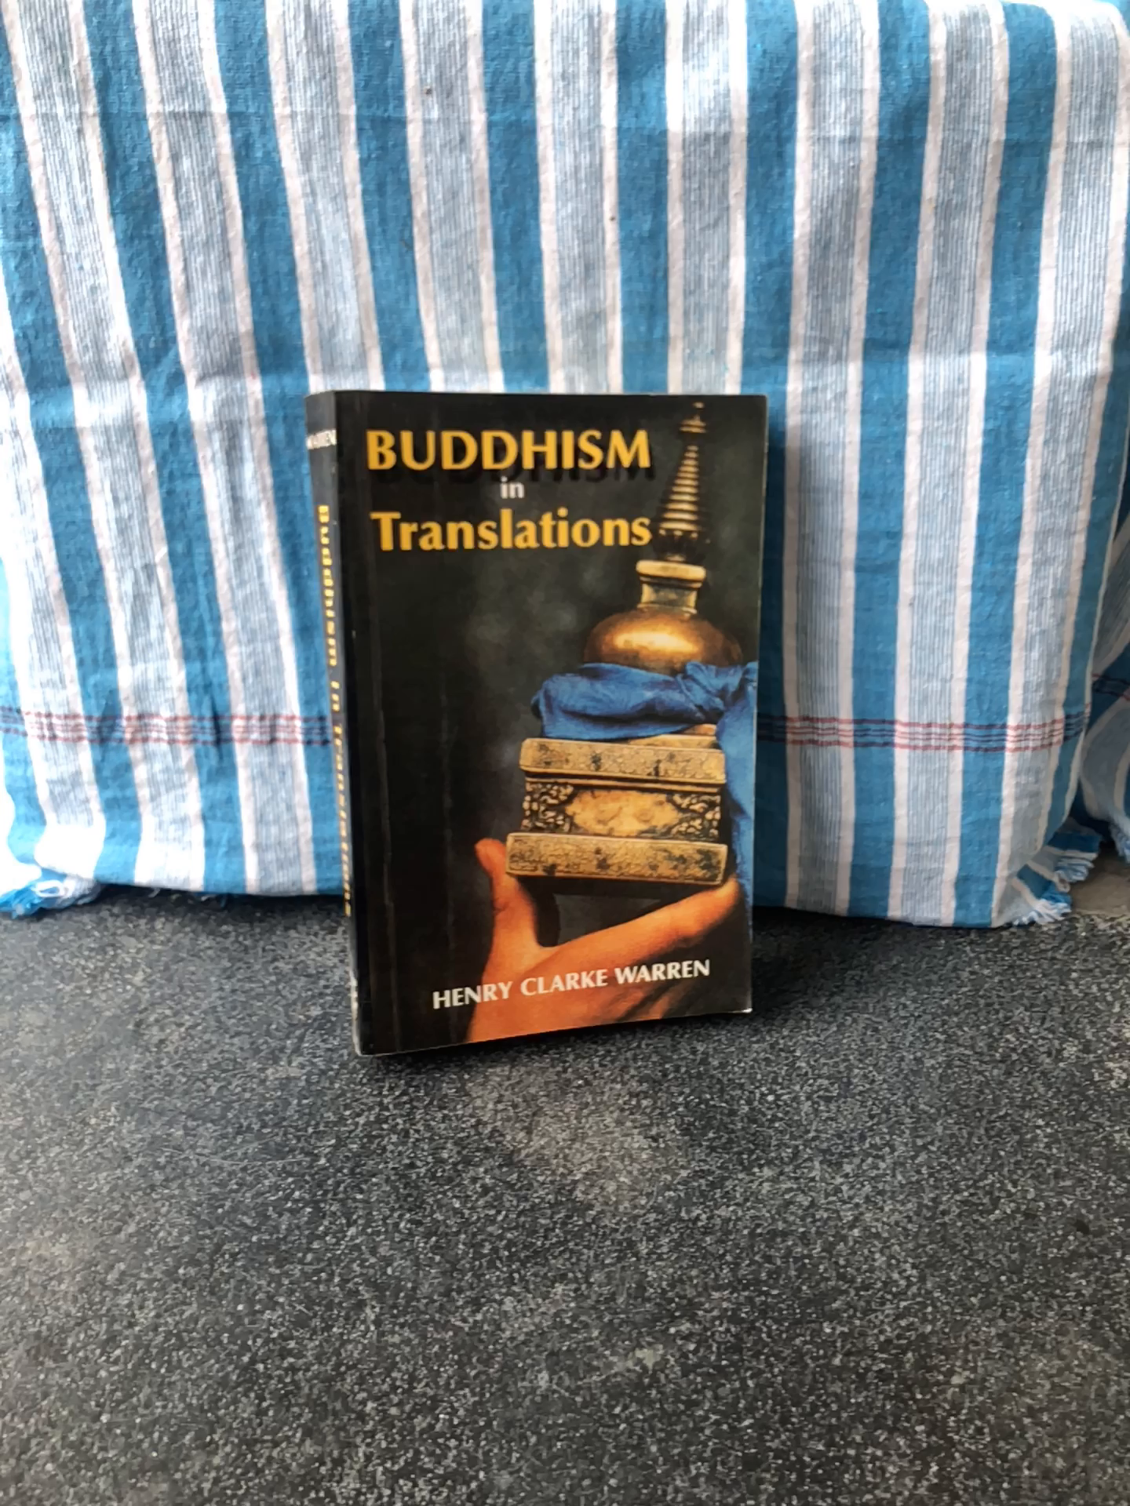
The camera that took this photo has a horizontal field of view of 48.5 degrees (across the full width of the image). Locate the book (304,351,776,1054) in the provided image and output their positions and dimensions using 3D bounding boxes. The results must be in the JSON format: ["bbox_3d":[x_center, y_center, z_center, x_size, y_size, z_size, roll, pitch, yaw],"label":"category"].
[{"bbox_3d":[-0.008,-0.019,0.415,0.140,0.210,0.050,-3,5,-14],"label":"book"}]
